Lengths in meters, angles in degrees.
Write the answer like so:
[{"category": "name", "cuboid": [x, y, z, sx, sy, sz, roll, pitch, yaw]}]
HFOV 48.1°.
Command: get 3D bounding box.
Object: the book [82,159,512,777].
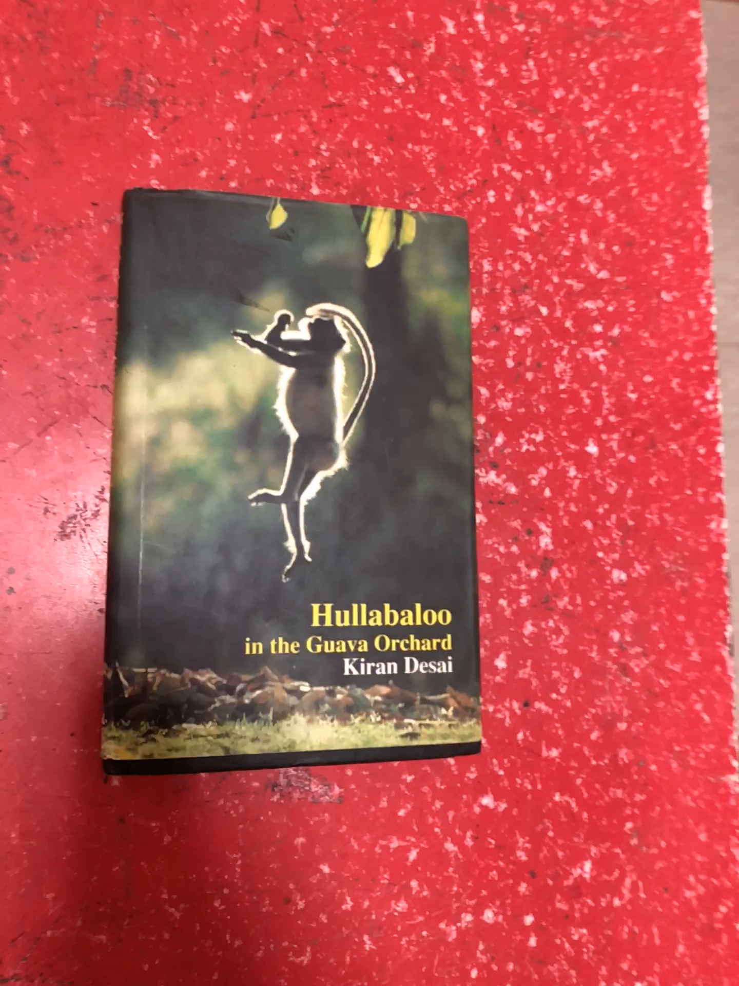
[{"category": "book", "cuboid": [-0.027, -0.012, 0.336, 0.160, 0.030, 0.230, 1, 82, -13]}]
